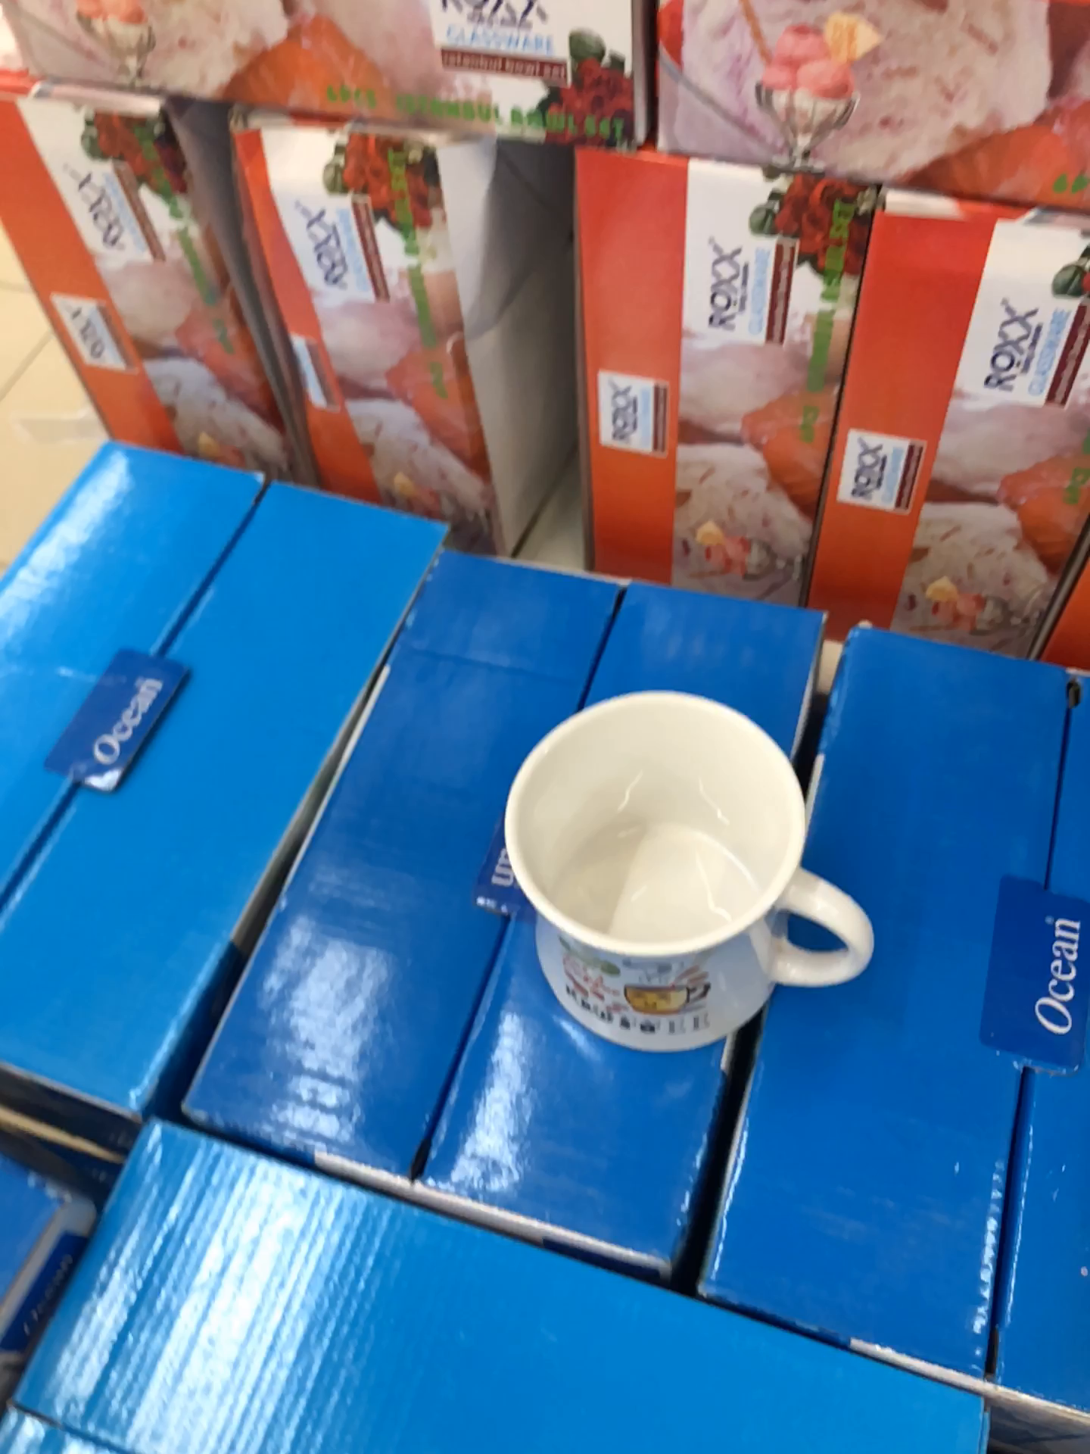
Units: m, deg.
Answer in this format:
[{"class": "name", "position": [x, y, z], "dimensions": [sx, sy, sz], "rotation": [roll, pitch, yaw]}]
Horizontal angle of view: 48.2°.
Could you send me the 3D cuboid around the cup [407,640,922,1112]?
[{"class": "cup", "position": [0.030, 0.037, 0.303], "dimensions": [0.100, 0.070, 0.070], "rotation": [14, 60, 13]}]
